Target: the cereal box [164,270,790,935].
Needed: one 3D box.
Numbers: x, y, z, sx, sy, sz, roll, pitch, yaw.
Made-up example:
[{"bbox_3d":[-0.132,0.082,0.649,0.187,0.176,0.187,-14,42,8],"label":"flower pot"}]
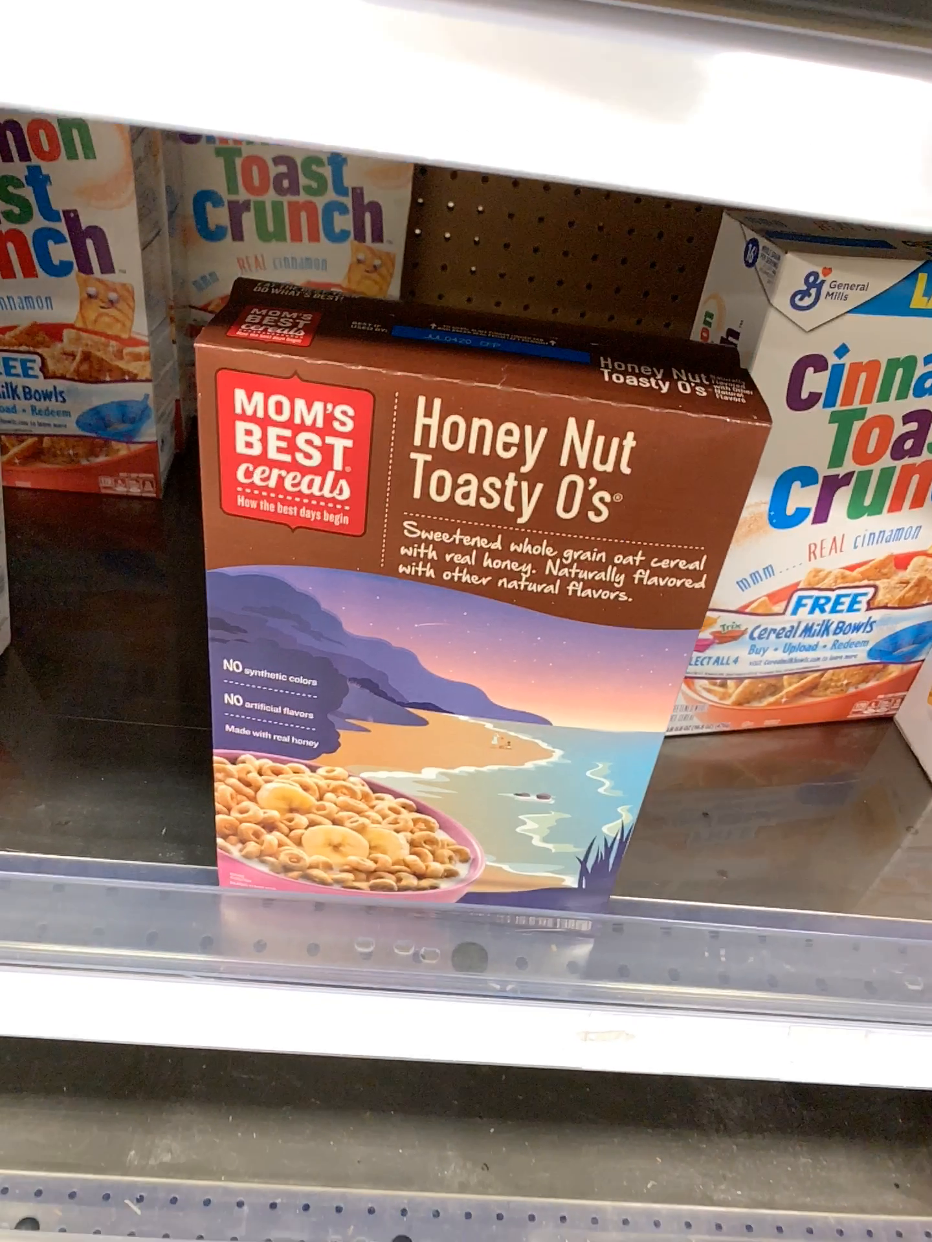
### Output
[{"bbox_3d":[-0.011,0.013,0.416,0.200,0.278,0.070,7,37,-3],"label":"cereal box"}]
